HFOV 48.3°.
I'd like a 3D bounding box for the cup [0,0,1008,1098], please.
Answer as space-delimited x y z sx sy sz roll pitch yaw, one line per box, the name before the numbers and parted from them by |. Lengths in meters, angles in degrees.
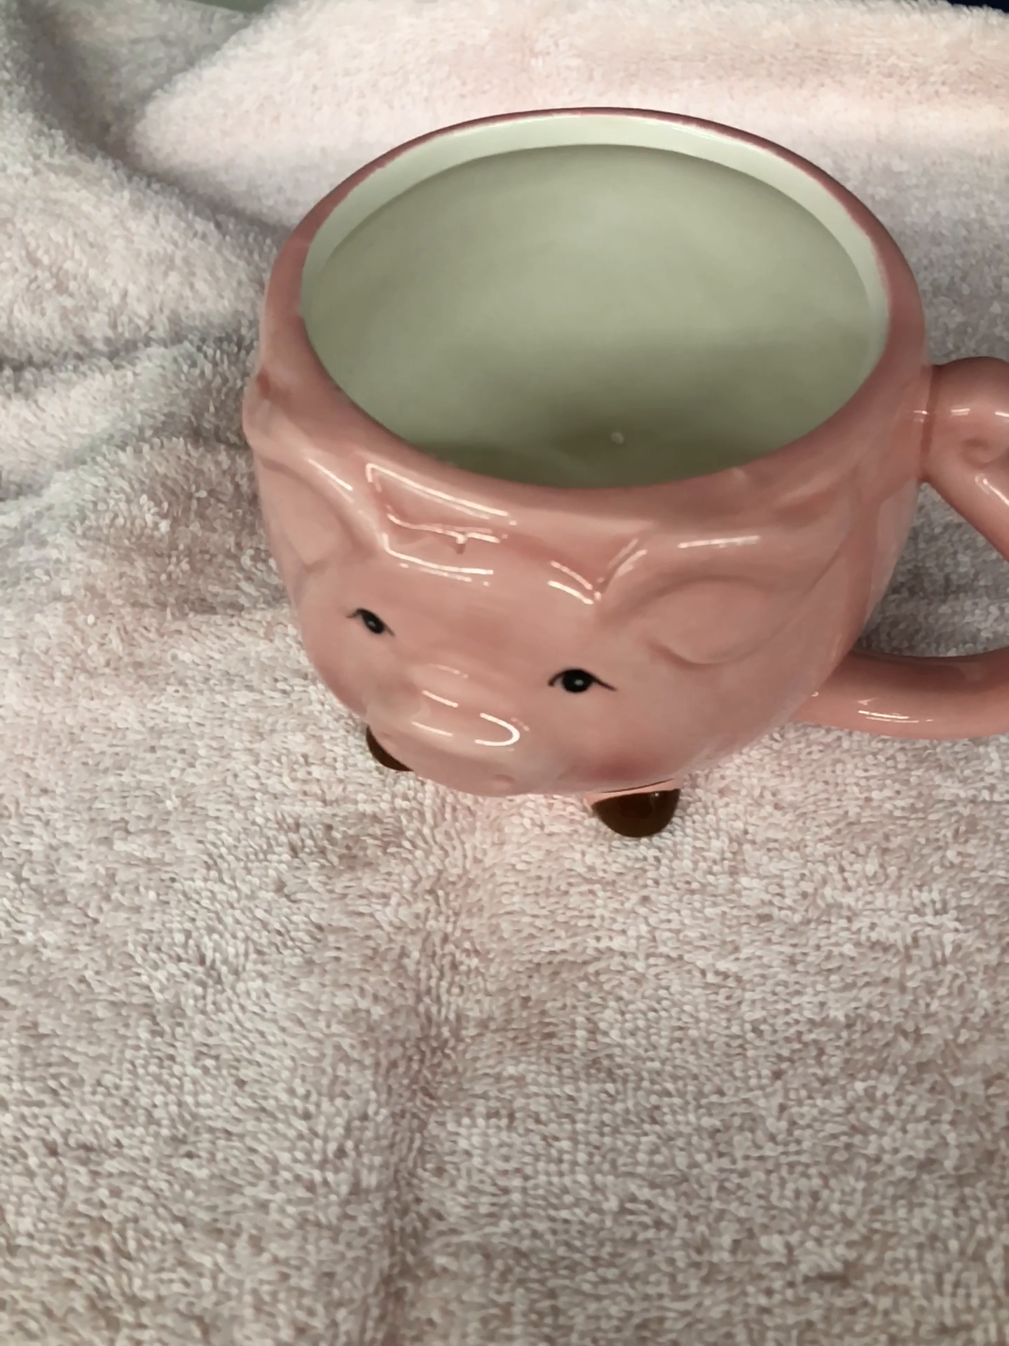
cup | 0.031 -0.023 0.174 0.150 0.090 0.100 19 60 13
